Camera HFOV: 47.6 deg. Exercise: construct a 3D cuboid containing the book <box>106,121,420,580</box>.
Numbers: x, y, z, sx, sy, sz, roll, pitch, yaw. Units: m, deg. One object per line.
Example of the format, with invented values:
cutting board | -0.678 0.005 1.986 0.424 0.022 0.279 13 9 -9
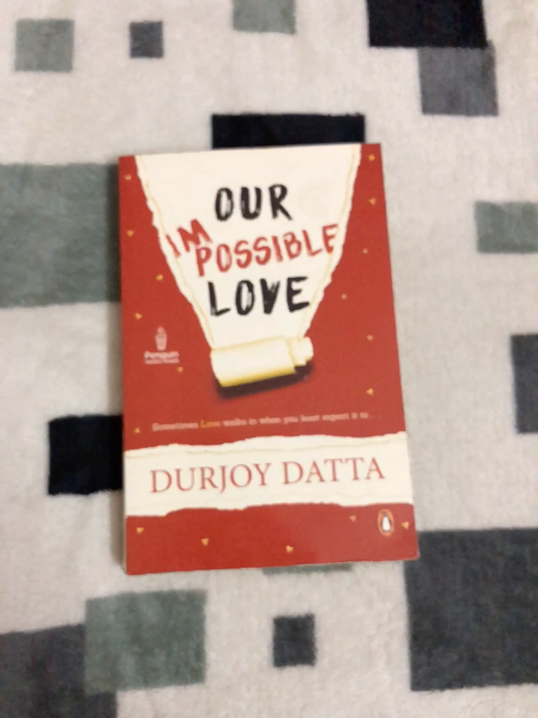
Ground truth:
book | -0.005 -0.007 0.287 0.130 0.030 0.200 -3 84 -2
